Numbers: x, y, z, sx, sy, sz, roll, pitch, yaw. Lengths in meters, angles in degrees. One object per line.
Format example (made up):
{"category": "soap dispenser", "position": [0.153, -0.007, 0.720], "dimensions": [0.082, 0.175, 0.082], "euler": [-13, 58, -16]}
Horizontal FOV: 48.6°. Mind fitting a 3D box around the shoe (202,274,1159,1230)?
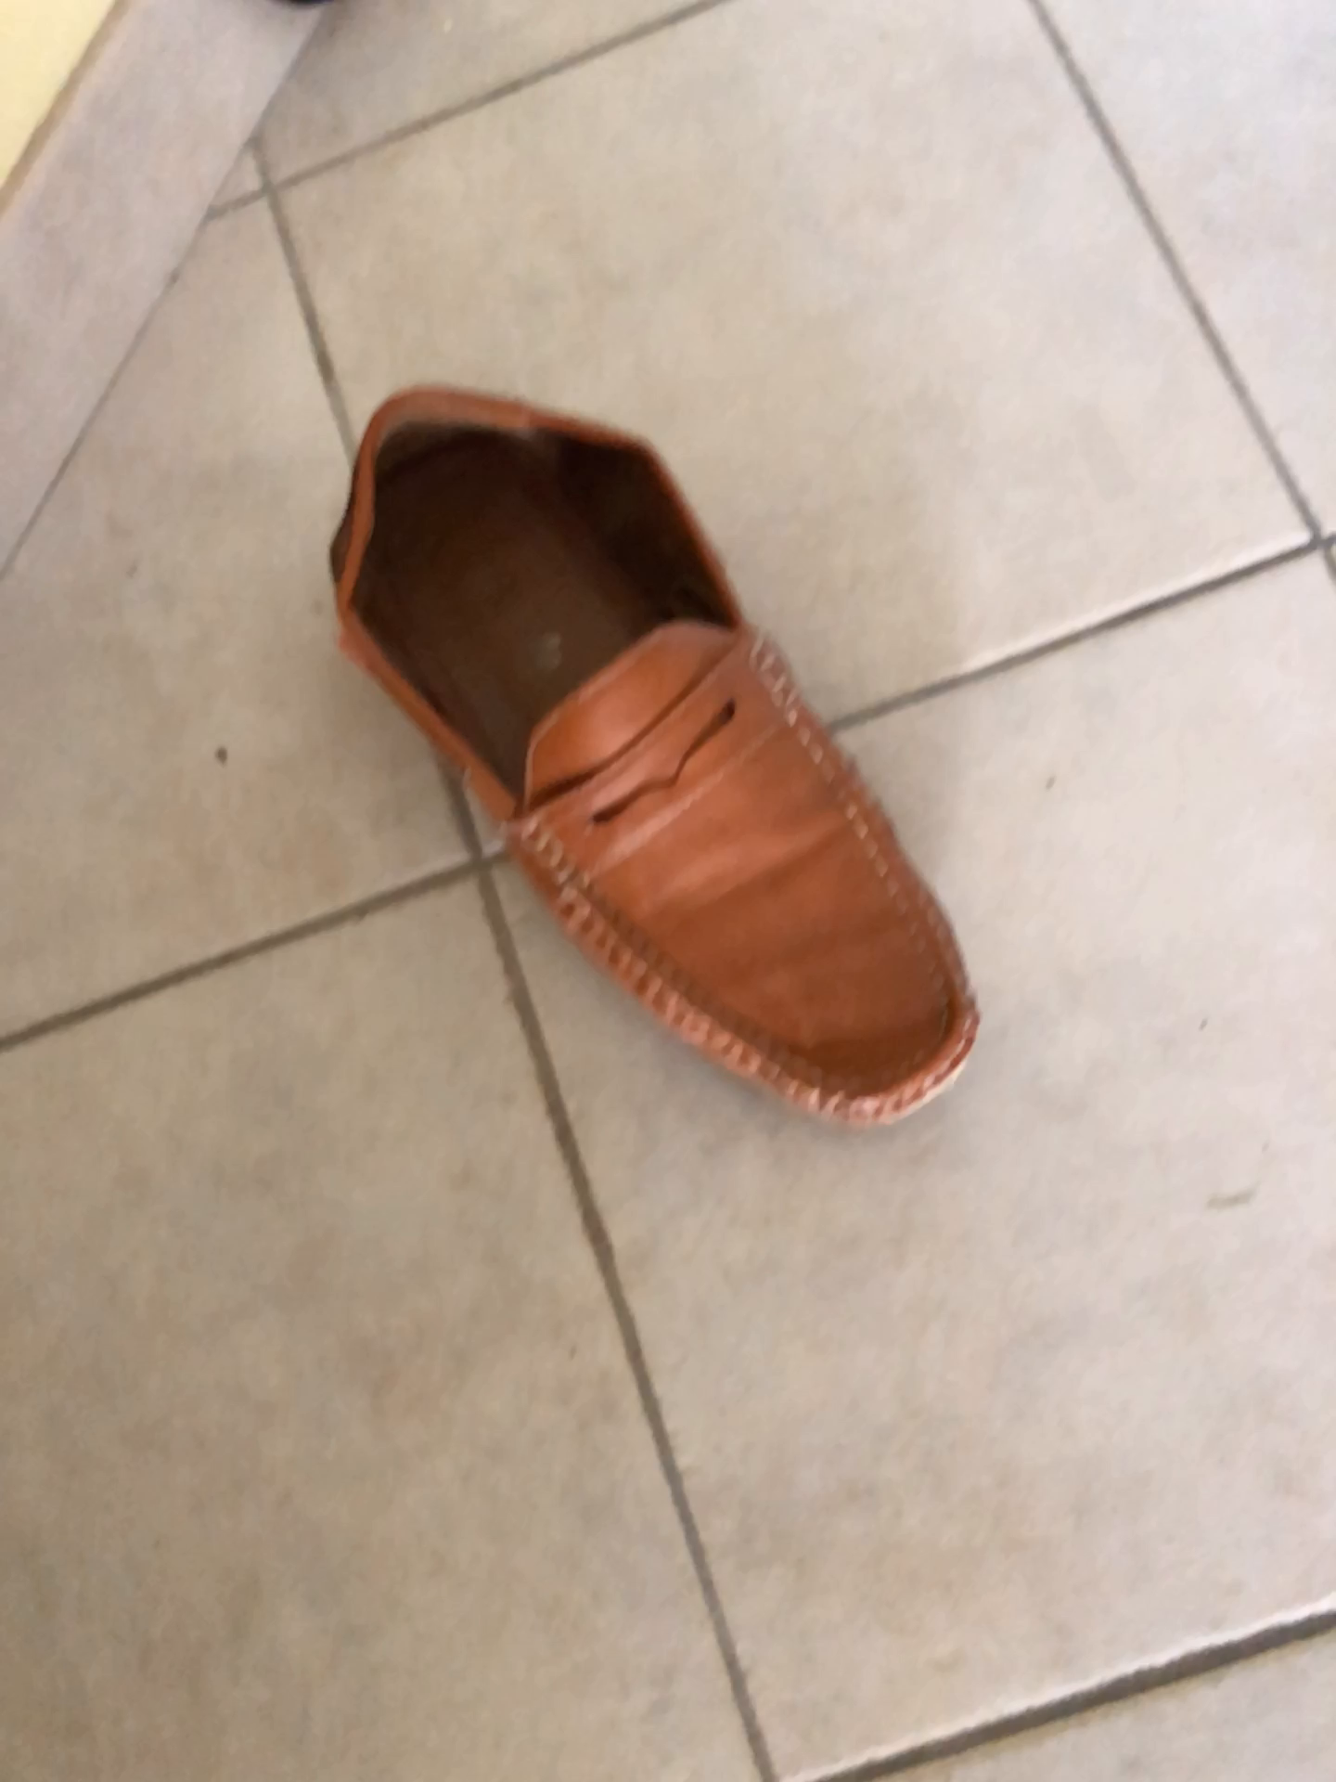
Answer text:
{"category": "shoe", "position": [-0.003, -0.046, 0.465], "dimensions": [0.130, 0.070, 0.280], "euler": [-42, 74, -3]}
